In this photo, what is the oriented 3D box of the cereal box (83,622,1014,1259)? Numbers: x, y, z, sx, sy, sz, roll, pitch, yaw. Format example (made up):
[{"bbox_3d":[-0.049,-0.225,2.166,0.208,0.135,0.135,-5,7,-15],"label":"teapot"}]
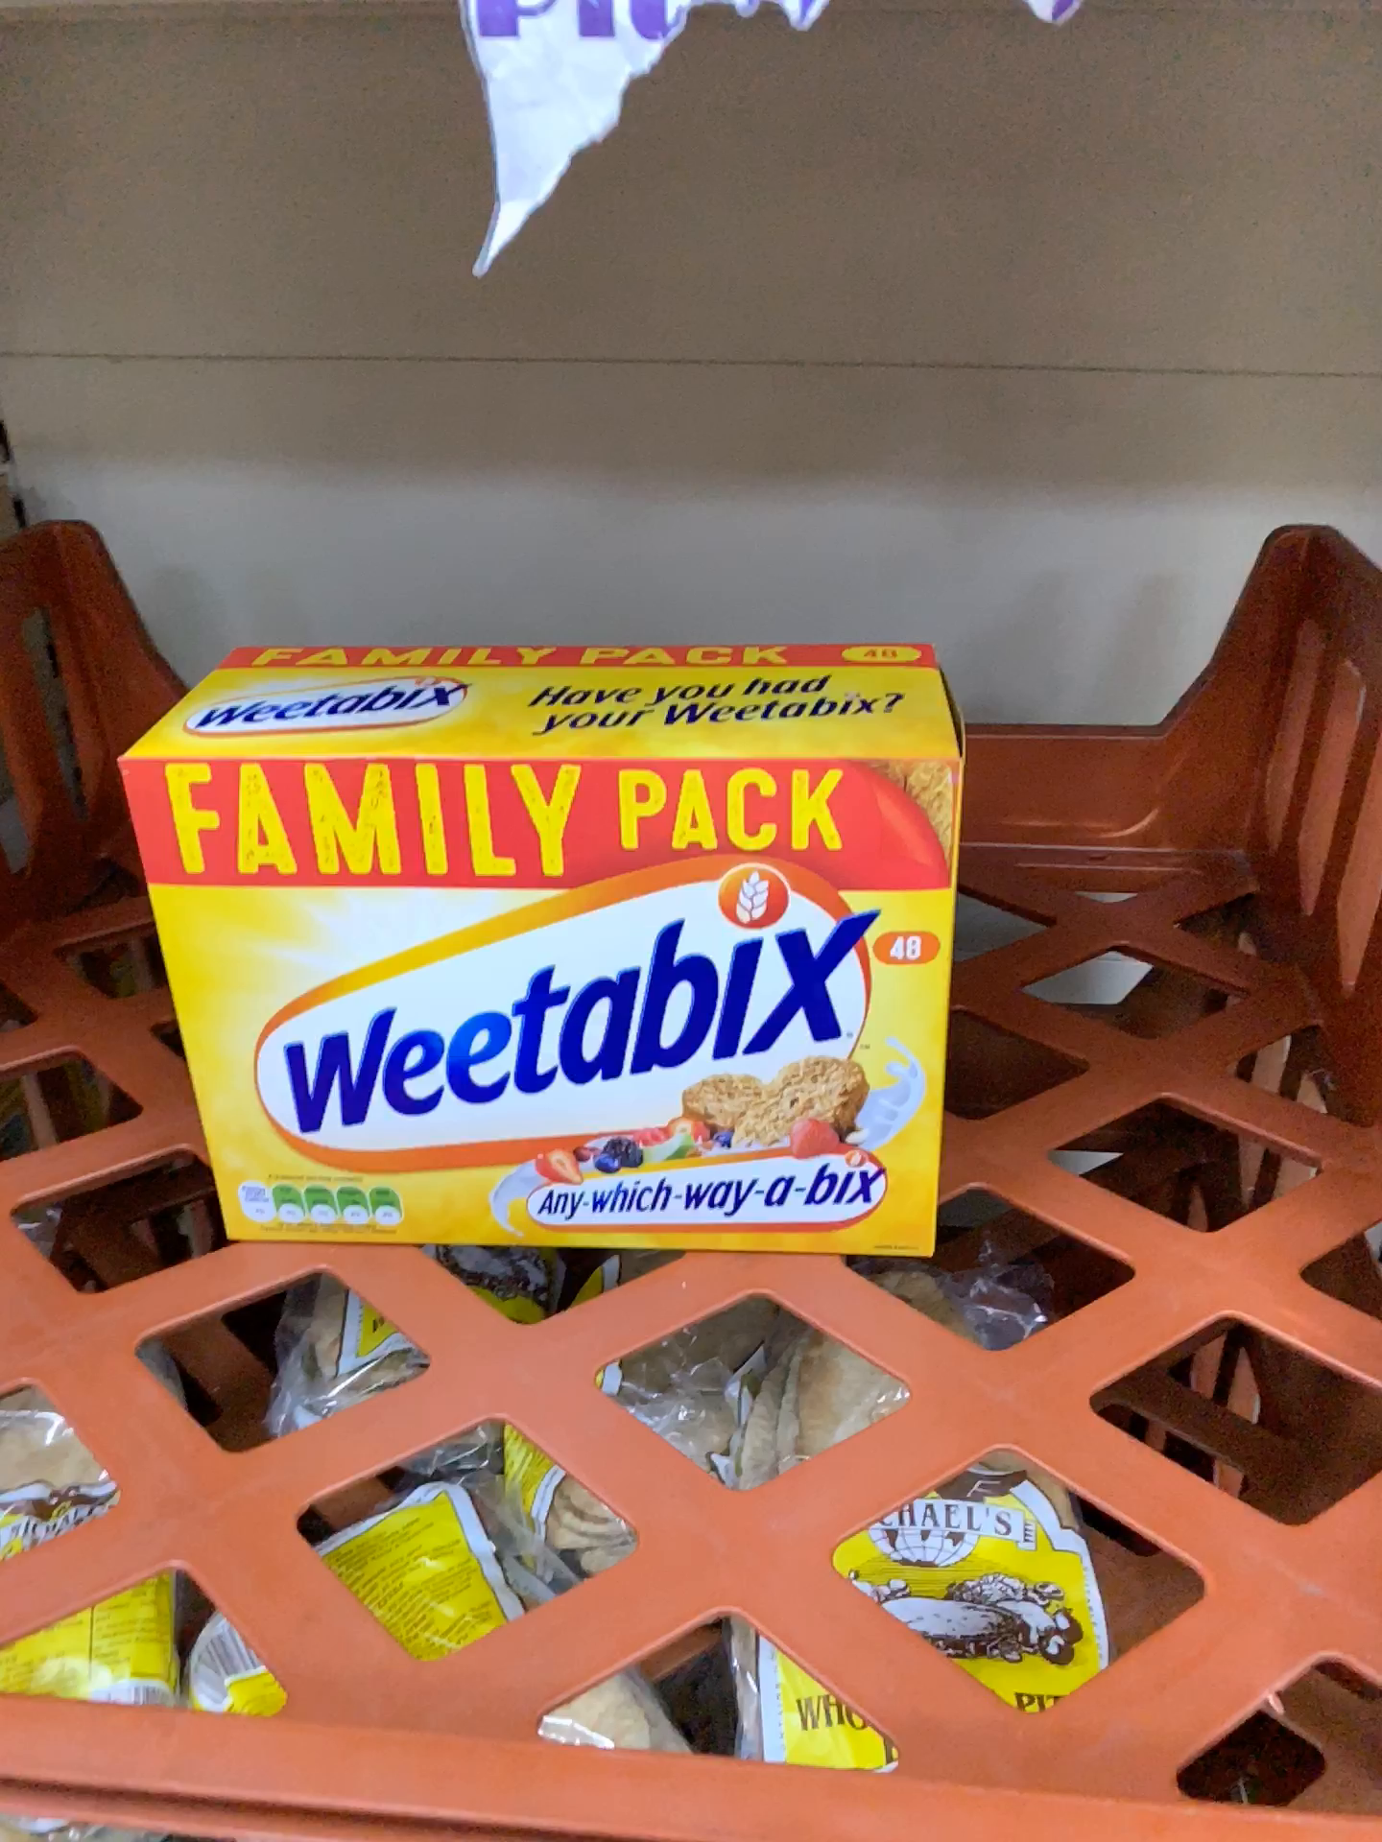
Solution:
[{"bbox_3d":[-0.038,0.006,0.482,0.260,0.188,0.101,1,29,3],"label":"cereal box"}]
